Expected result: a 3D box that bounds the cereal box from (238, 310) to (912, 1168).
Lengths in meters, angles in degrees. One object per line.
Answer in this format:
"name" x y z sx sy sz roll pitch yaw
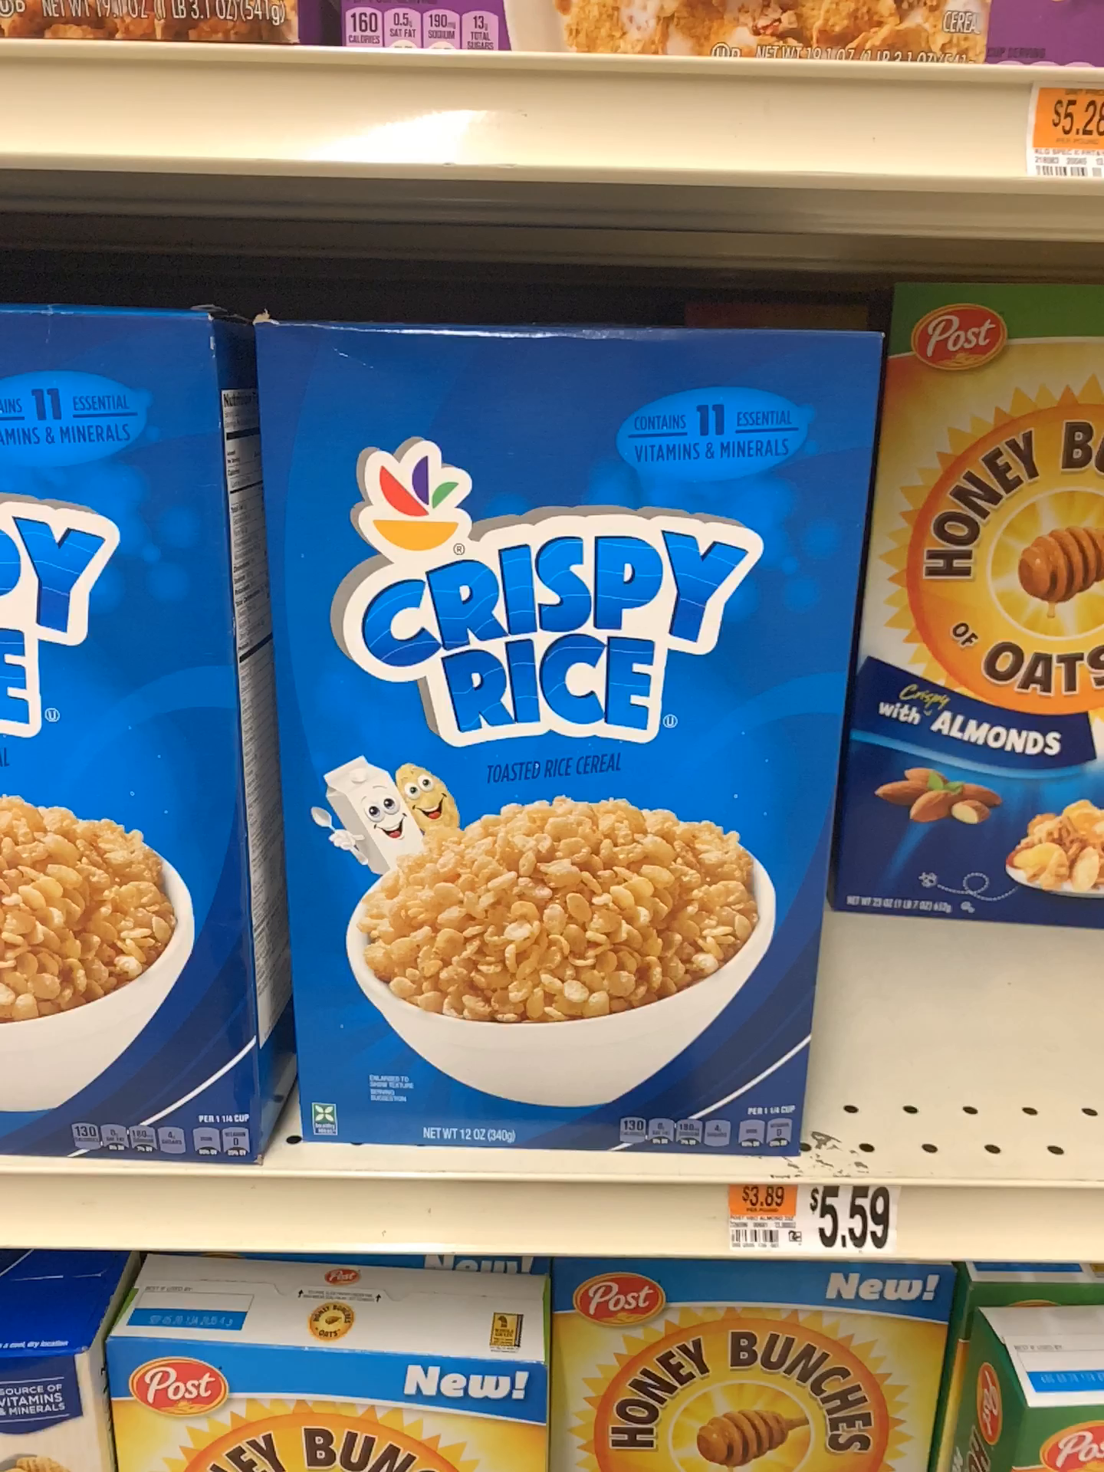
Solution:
"cereal box" 0.004 0.009 0.437 0.210 0.319 0.070 1 19 0
